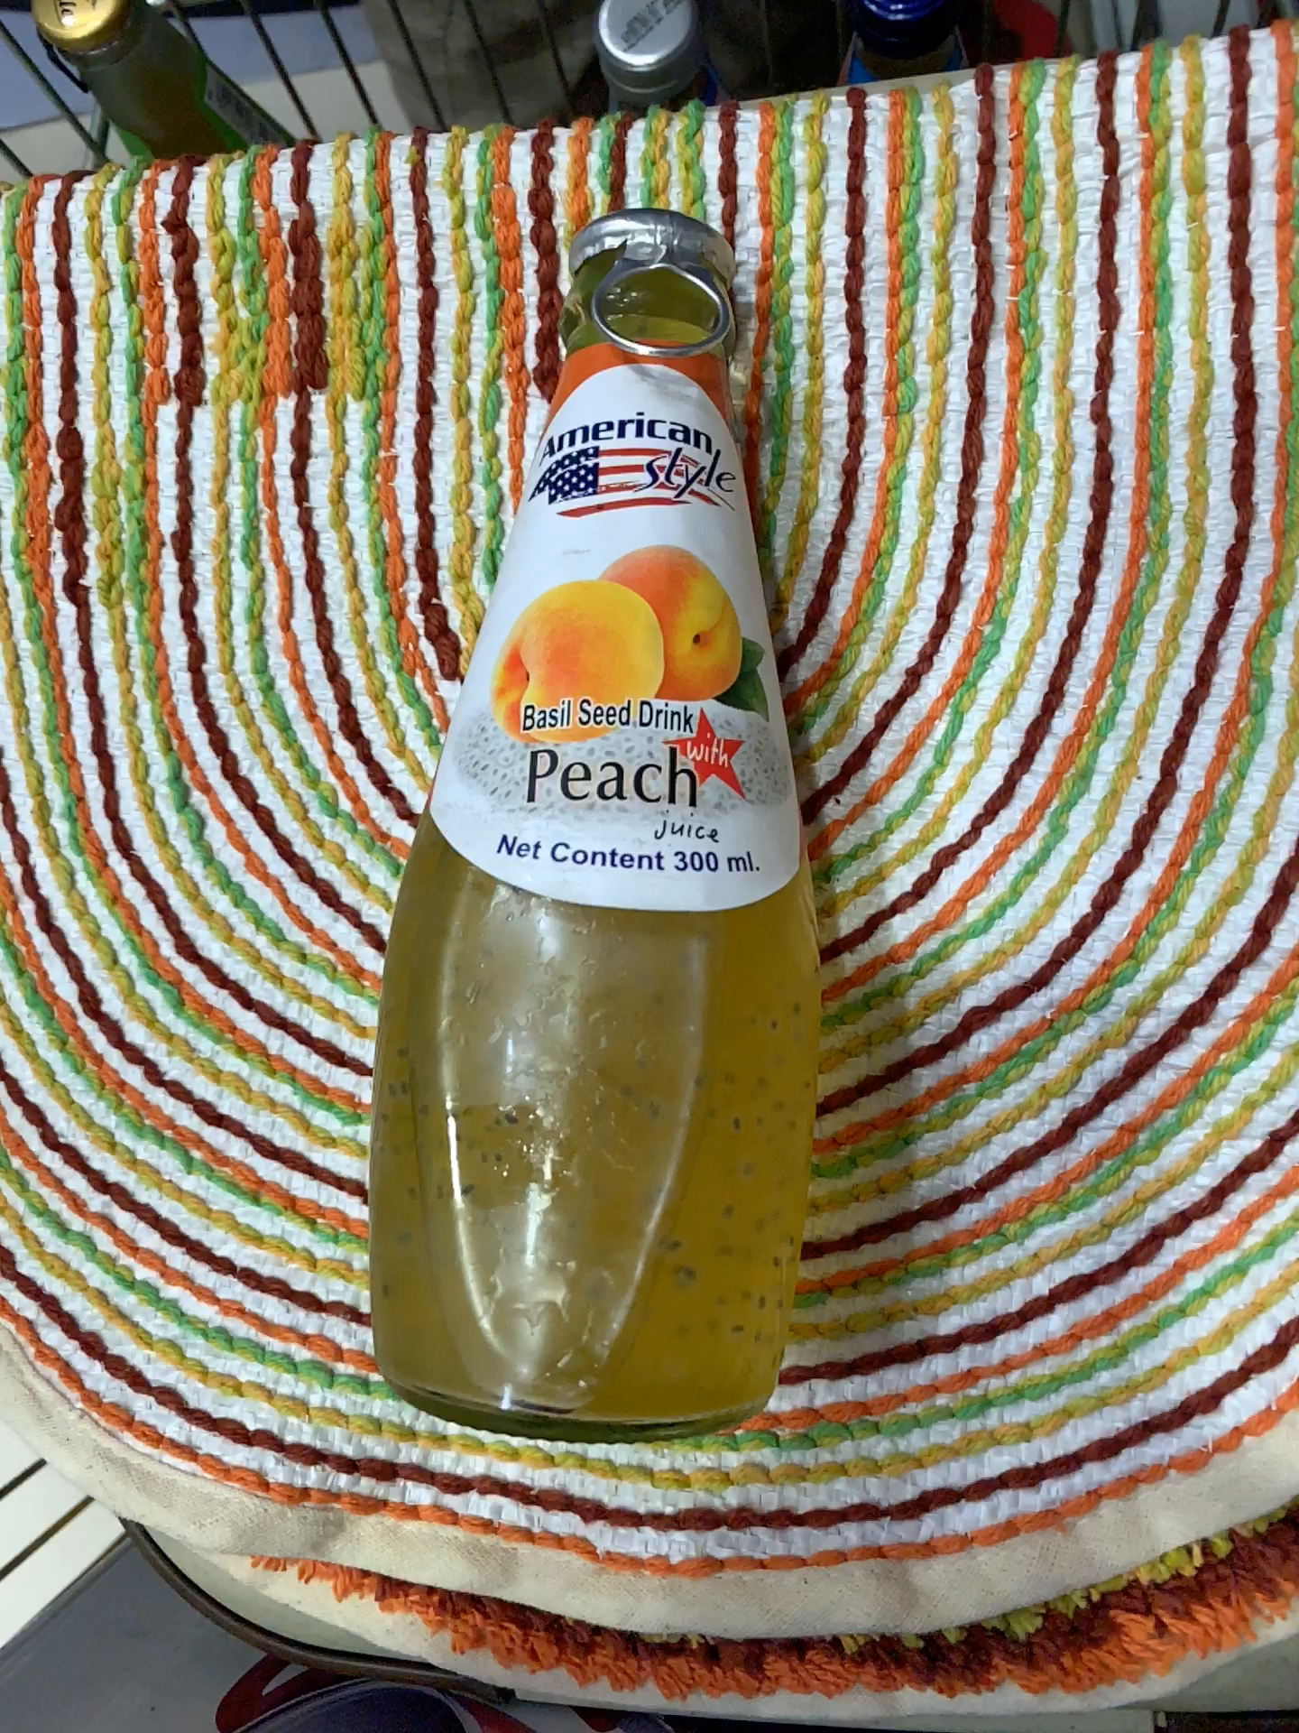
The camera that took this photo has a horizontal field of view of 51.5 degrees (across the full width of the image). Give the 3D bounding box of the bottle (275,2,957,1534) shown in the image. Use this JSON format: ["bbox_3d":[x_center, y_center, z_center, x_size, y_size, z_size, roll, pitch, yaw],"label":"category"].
[{"bbox_3d":[-0.003,-0.017,0.205,0.070,0.060,0.200,8,76,-9],"label":"bottle"}]
